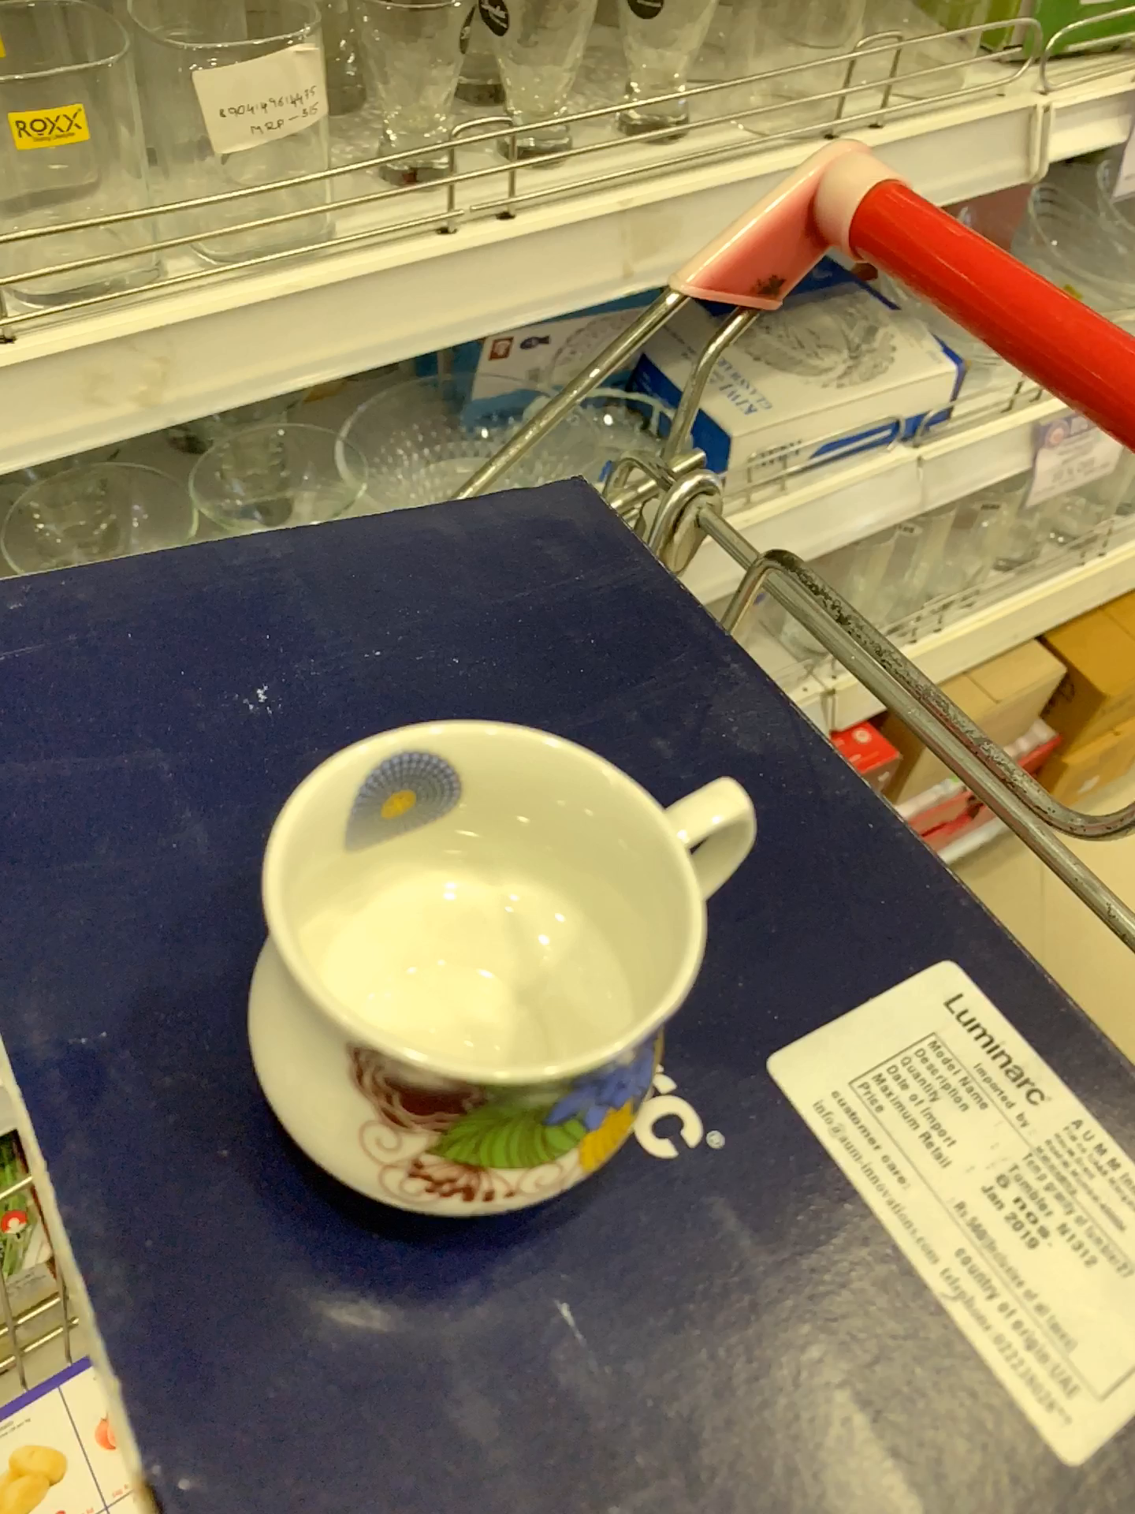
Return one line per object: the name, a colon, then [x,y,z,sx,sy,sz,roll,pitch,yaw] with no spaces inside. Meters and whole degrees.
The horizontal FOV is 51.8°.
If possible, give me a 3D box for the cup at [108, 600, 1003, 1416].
cup: [-0.003,0.027,0.158,0.090,0.050,0.060,-21,56,-28]
